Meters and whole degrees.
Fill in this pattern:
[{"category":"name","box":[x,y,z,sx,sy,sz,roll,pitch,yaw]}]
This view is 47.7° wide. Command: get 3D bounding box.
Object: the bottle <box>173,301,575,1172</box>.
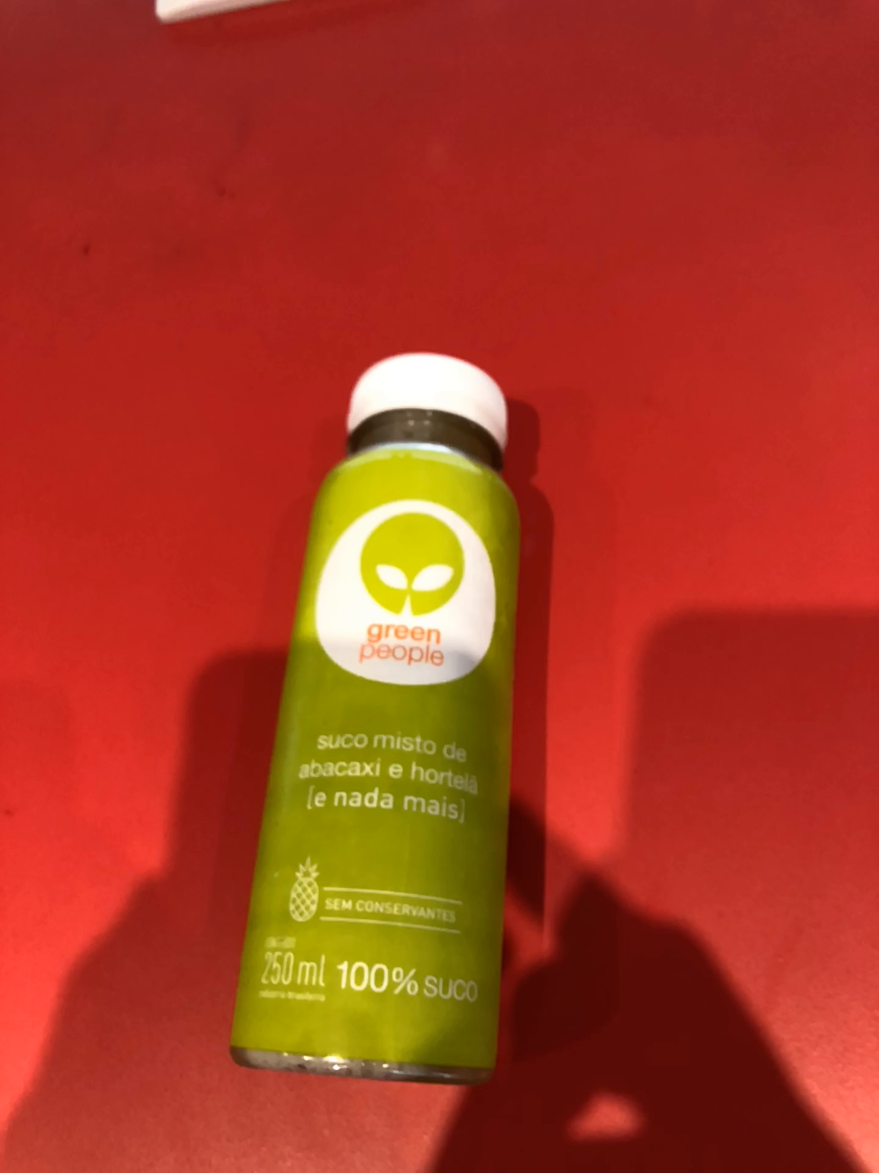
[{"category":"bottle","box":[-0.009,0.027,0.222,0.060,0.050,0.170,7,71,-1]}]
